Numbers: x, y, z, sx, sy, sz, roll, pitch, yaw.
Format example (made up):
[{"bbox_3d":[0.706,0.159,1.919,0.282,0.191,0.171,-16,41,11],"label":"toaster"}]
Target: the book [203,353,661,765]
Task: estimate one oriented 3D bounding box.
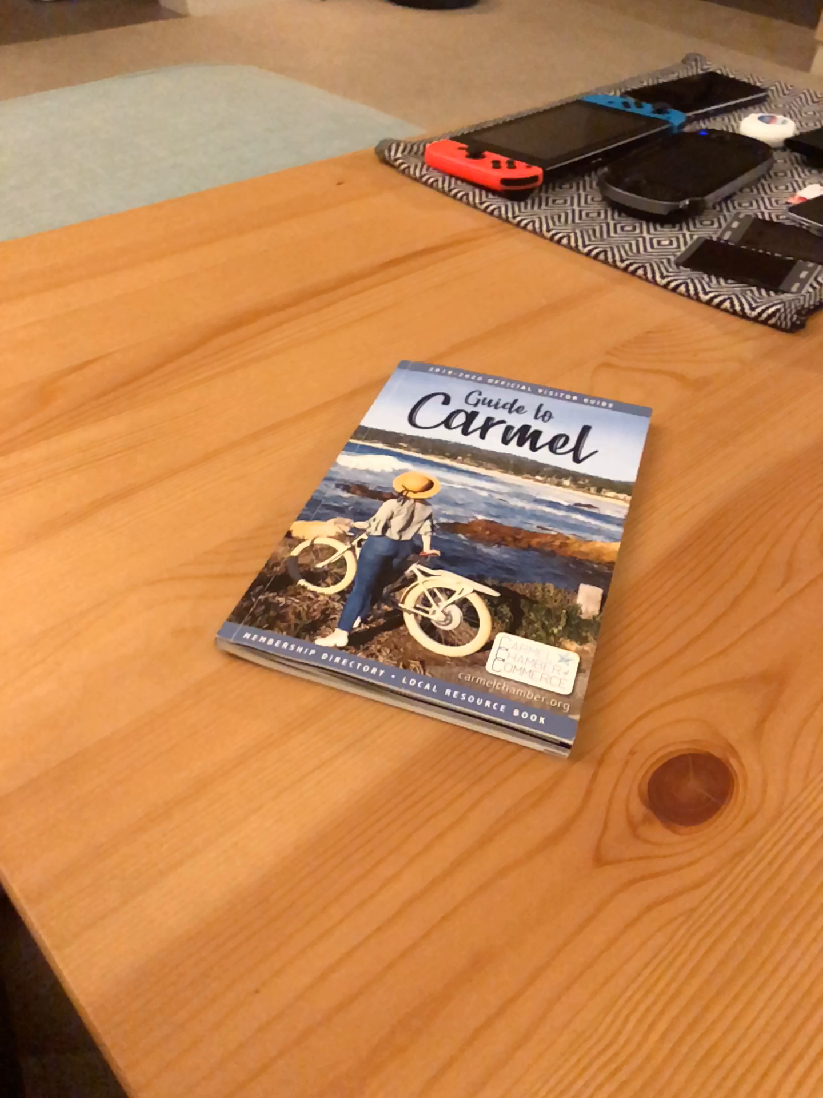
[{"bbox_3d":[0.023,-0.015,0.387,0.137,0.010,0.208,15,44,12],"label":"book"}]
